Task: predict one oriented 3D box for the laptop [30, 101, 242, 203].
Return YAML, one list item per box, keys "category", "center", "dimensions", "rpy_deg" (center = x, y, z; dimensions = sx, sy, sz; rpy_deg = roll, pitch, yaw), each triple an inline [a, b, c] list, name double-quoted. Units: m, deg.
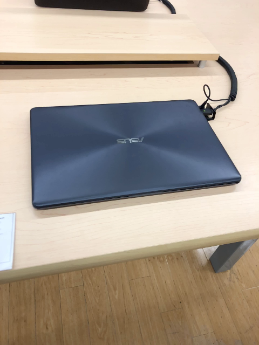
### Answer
- category: "laptop"
  center: [0.001, -0.058, 0.530]
  dimensions: [0.345, 0.002, 0.229]
  rpy_deg: [-6, 50, -14]
